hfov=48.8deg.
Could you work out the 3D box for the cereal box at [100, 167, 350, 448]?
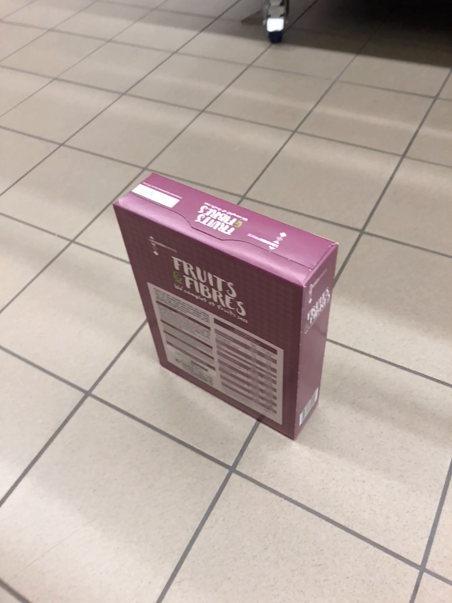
[{"bbox_3d":[0.003,0.017,0.509,0.210,0.259,0.060,25,56,25],"label":"cereal box"}]
